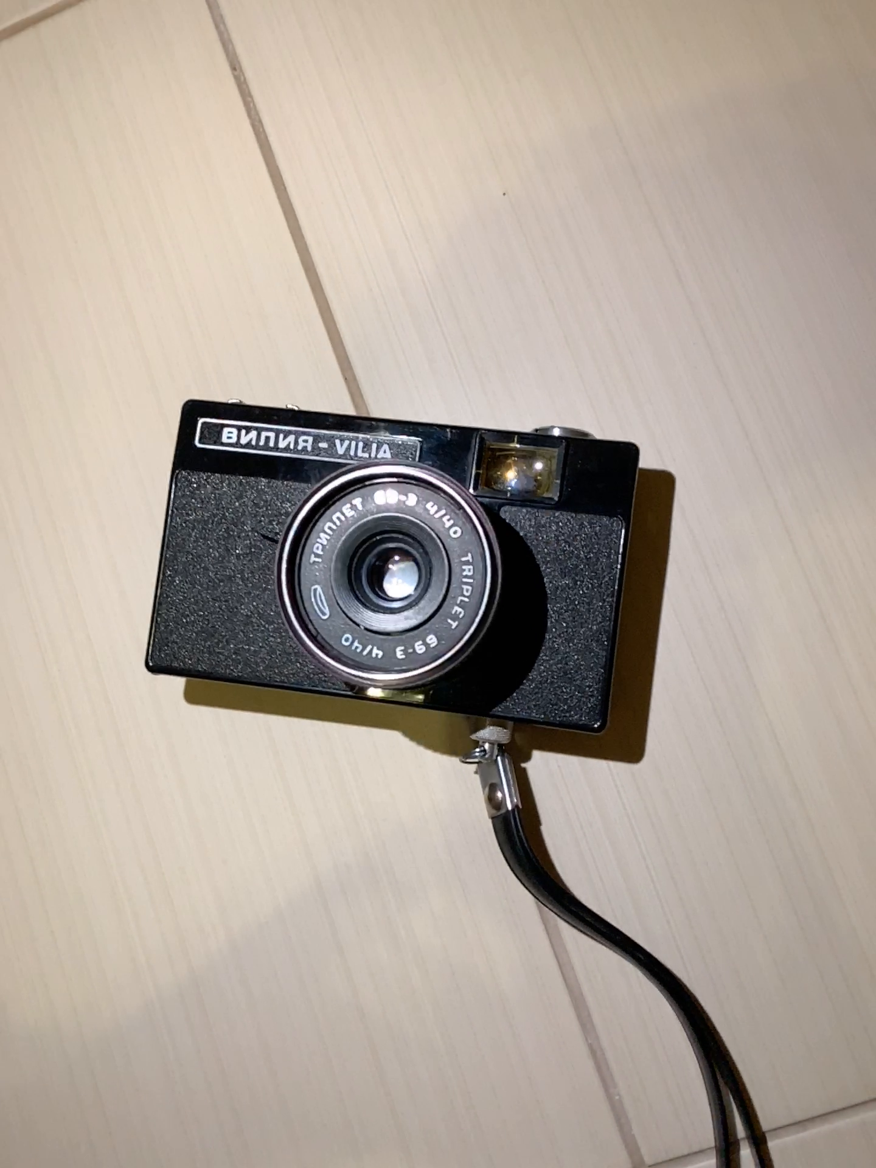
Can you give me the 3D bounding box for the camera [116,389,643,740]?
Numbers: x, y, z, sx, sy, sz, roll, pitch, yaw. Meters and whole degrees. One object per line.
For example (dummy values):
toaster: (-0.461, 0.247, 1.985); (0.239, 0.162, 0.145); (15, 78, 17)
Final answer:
camera: (-0.014, -0.006, 0.243); (0.124, 0.041, 0.073); (7, 88, 10)
